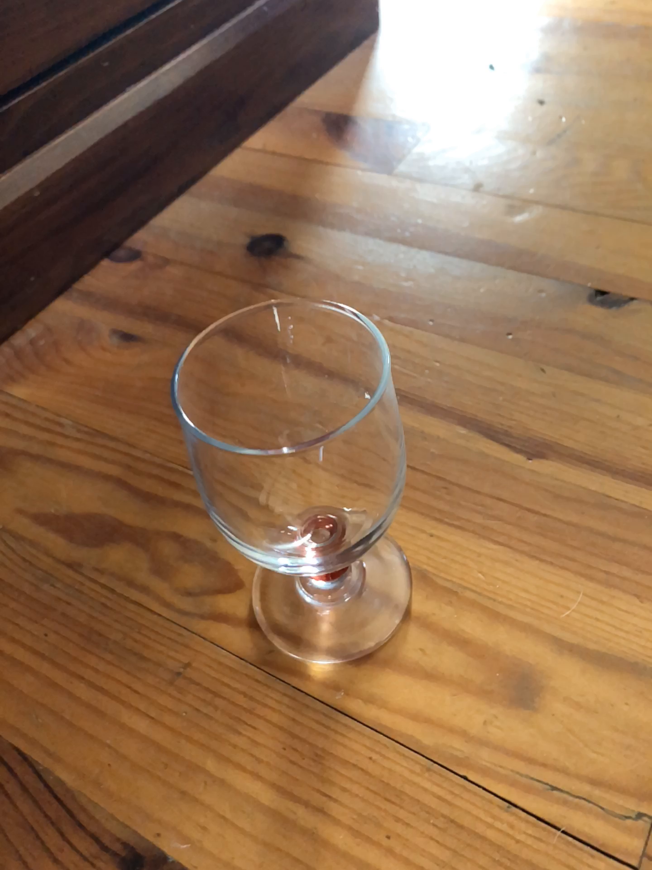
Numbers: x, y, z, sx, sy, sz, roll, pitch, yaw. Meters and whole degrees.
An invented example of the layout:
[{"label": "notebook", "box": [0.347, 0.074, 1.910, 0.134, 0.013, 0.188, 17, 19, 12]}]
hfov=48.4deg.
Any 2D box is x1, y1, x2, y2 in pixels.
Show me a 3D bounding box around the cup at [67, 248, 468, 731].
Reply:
[{"label": "cup", "box": [-0.010, 0.023, 0.264, 0.087, 0.132, 0.084, -5, 49, 6]}]
